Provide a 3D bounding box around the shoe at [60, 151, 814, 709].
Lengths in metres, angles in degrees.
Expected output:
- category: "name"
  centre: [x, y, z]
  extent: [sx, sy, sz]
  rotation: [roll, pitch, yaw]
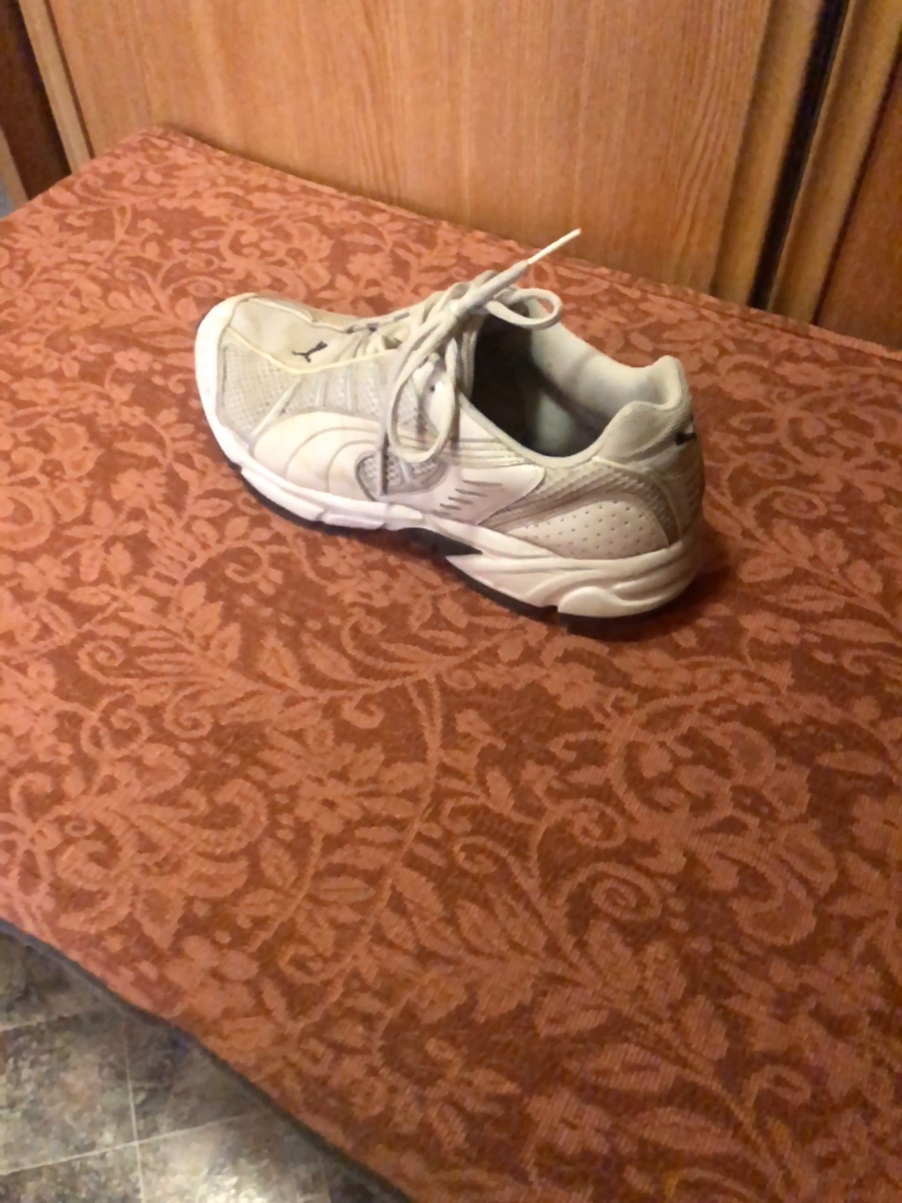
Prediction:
- category: "shoe"
  centre: [-0.014, -0.090, 0.445]
  extent: [0.290, 0.100, 0.120]
  rotation: [27, 56, 22]
